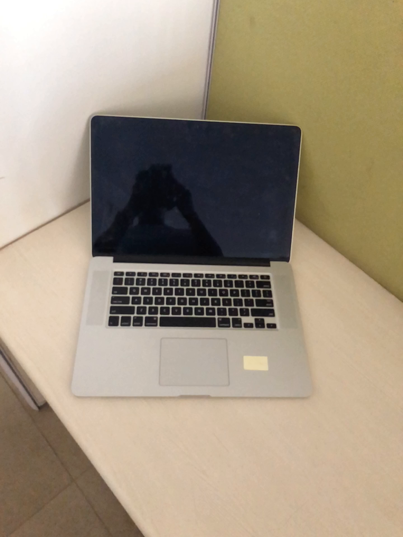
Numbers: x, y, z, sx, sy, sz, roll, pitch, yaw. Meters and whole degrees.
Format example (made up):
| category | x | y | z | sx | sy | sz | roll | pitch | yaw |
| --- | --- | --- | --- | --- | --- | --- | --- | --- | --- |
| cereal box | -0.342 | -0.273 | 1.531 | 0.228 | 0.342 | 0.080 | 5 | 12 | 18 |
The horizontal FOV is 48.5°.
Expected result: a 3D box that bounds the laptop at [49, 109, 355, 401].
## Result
| category | x | y | z | sx | sy | sz | roll | pitch | yaw |
| --- | --- | --- | --- | --- | --- | --- | --- | --- | --- |
| laptop | -0.008 | -0.029 | 0.678 | 0.345 | 0.163 | 0.405 | 2 | 57 | -5 |
